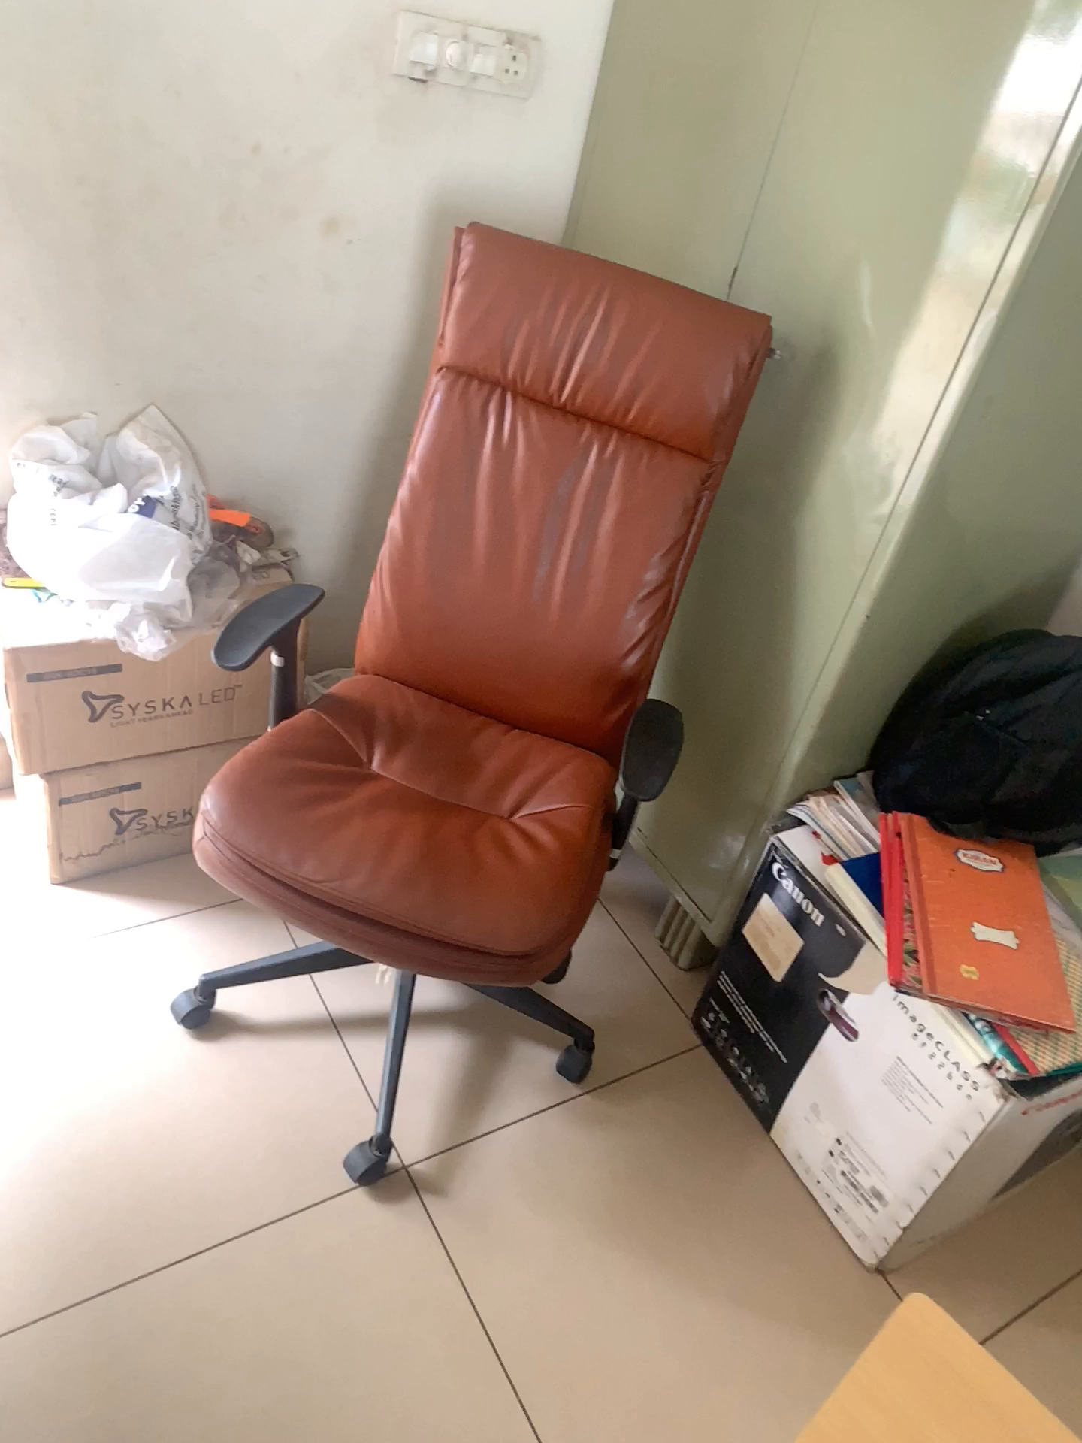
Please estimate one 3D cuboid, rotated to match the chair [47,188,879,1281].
[{"bbox_3d":[-0.076,-0.031,1.578,0.690,1.085,0.934,20,36,7],"label":"chair"}]
